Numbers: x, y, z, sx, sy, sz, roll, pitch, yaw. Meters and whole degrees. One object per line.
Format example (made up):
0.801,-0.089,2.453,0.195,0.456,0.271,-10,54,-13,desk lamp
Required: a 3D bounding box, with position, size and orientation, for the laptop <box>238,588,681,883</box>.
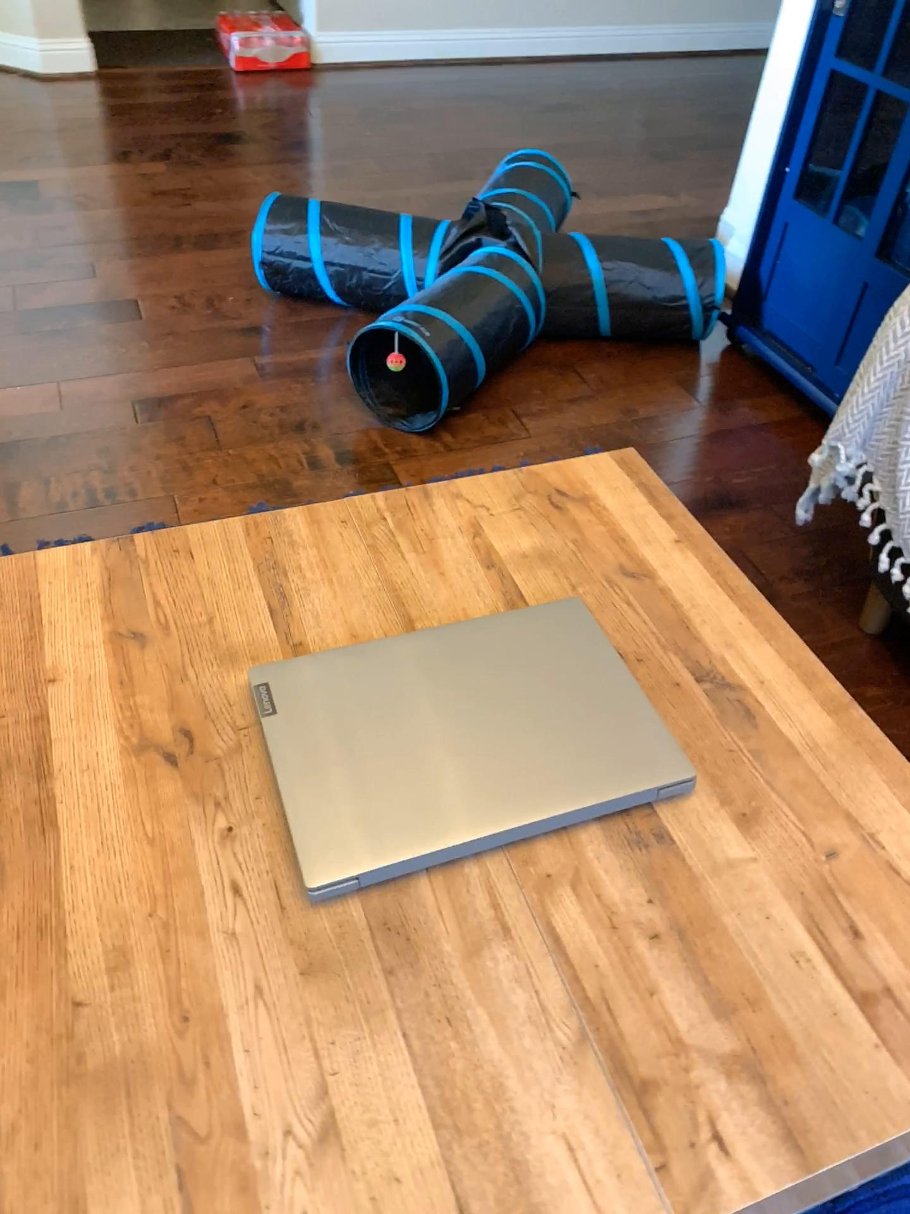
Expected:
-0.002,0.099,0.859,0.347,0.011,0.238,-12,47,-17,laptop
